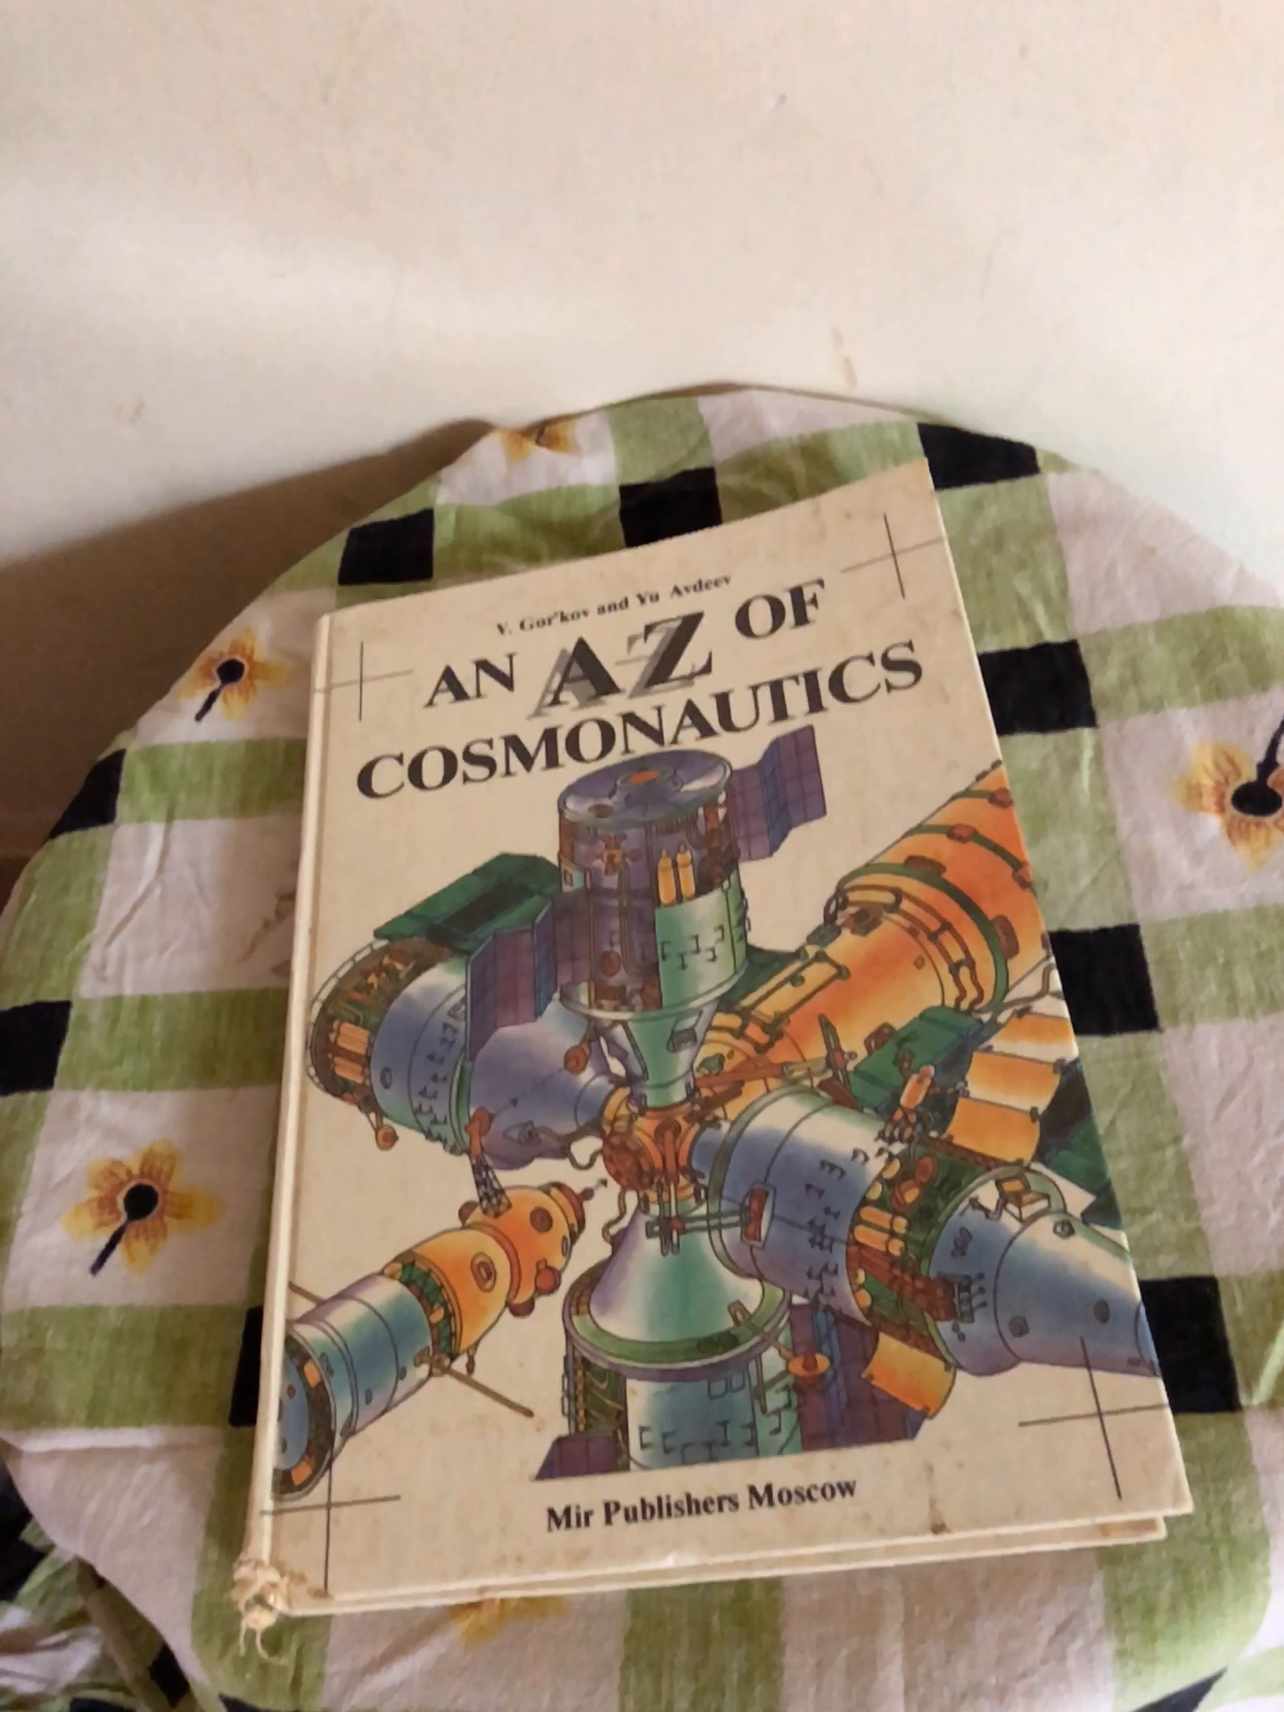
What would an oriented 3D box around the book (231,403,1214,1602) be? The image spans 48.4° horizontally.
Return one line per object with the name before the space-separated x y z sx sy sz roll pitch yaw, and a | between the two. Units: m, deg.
book | 0.005 0.022 0.354 0.180 0.060 0.271 -10 59 7
